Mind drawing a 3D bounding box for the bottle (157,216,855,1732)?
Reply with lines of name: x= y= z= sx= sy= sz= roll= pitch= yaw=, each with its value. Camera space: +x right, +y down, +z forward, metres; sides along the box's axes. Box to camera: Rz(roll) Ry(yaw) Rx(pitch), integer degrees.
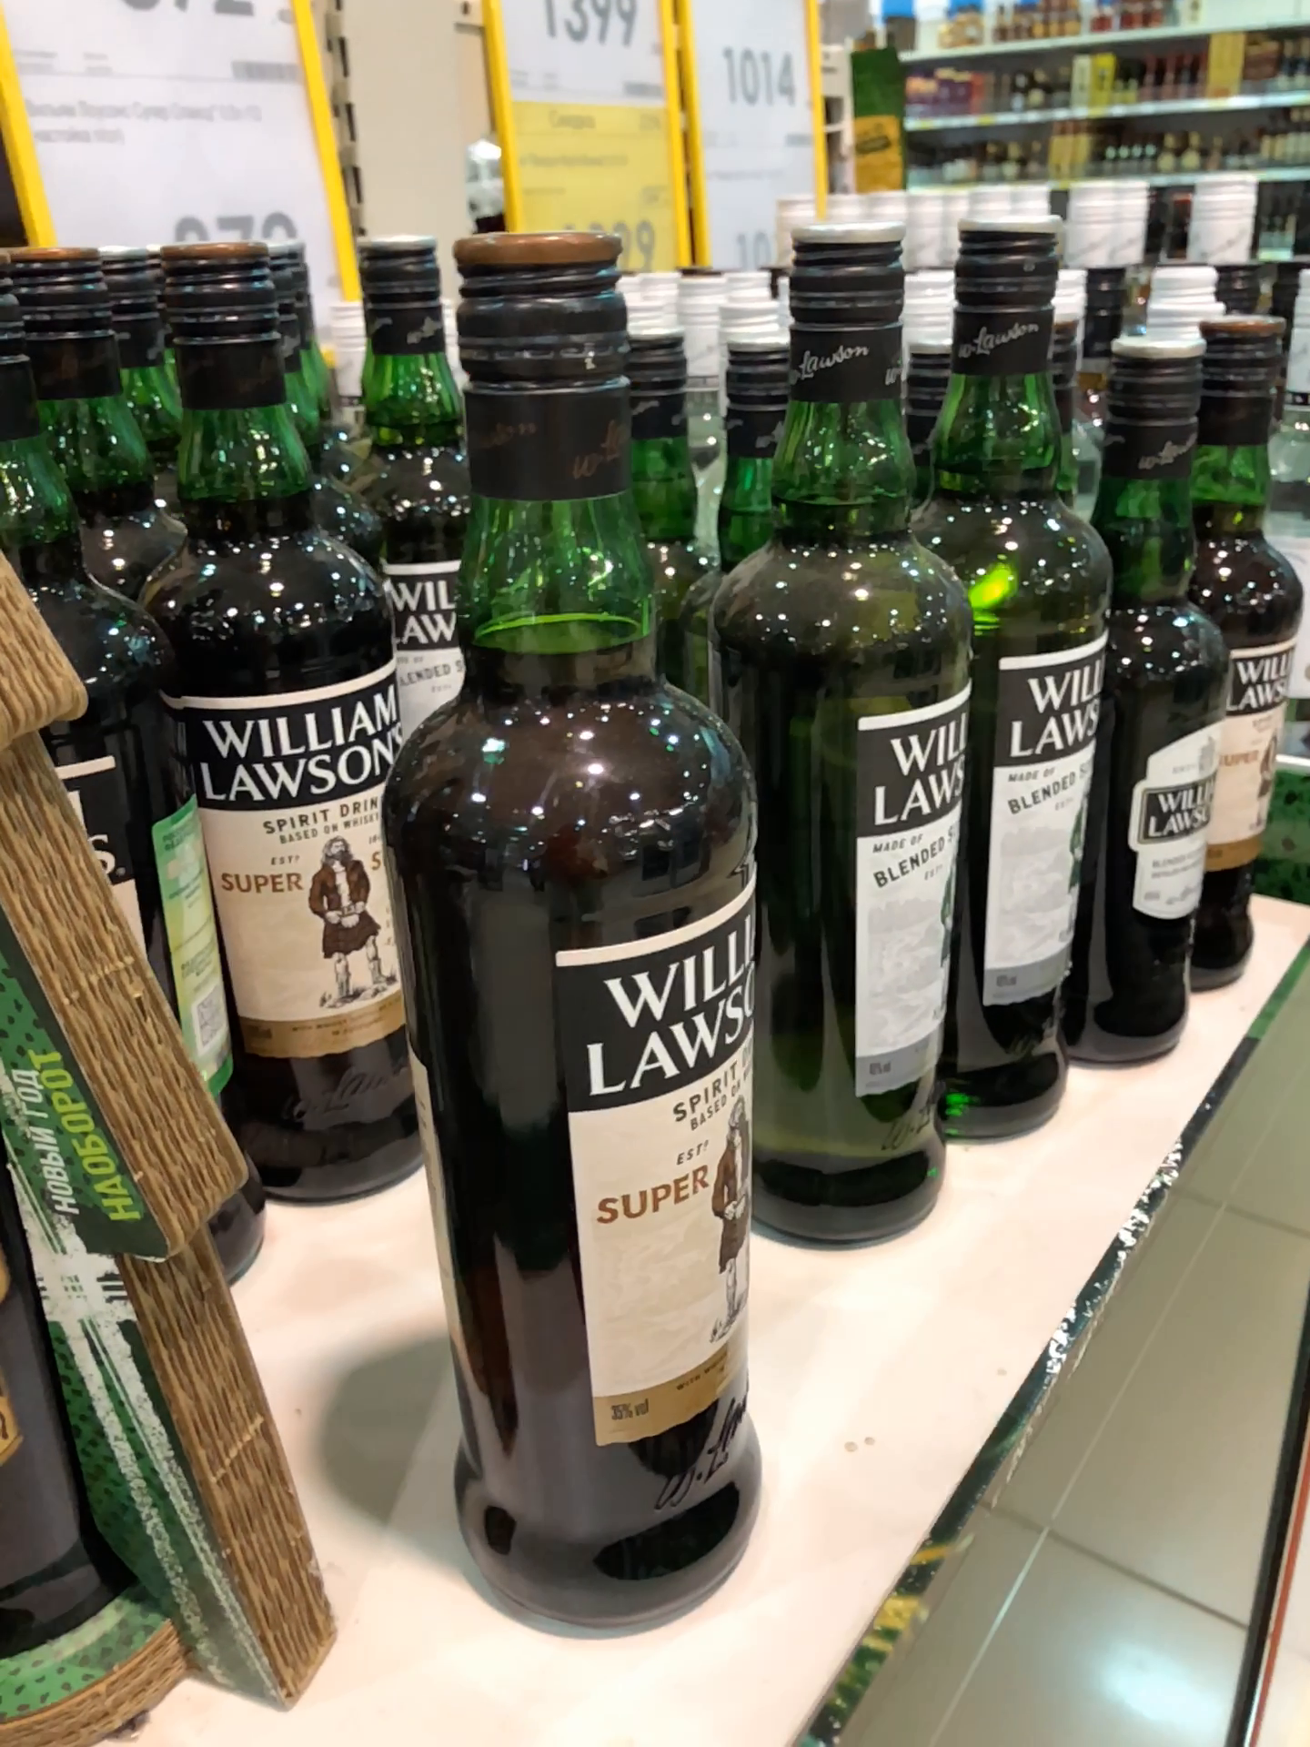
bottle: x=-0.018 y=0.026 z=0.306 sx=0.090 sy=0.298 sz=0.080 roll=10 pitch=26 yaw=26
